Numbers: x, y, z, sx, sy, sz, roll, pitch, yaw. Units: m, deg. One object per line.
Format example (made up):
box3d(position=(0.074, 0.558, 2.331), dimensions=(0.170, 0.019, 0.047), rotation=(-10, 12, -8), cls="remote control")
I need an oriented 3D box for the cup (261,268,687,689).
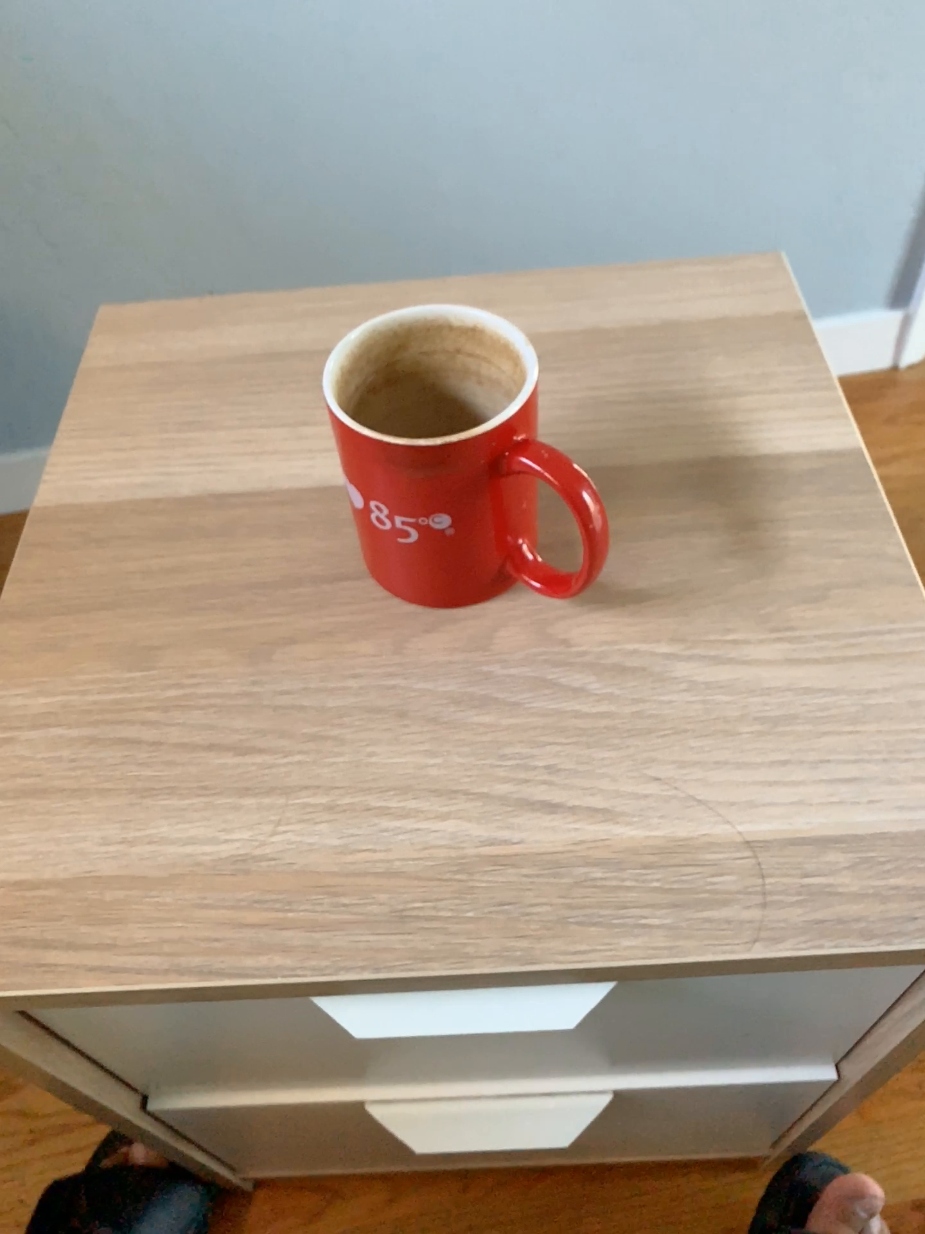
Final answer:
box3d(position=(0.005, -0.059, 0.390), dimensions=(0.130, 0.090, 0.090), rotation=(33, 62, 26), cls="cup")
